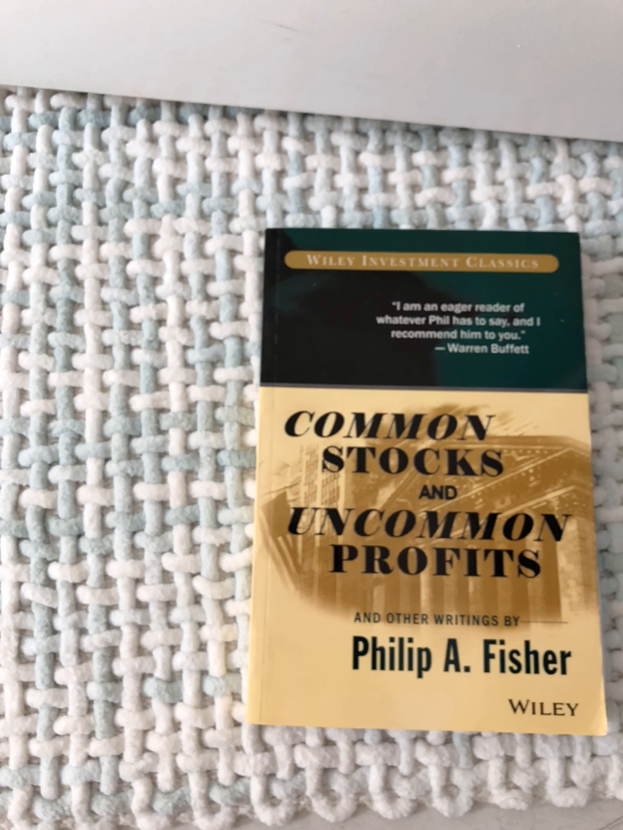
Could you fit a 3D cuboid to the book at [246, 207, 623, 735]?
[{"bbox_3d":[0.057,0.020,0.344,0.166,0.027,0.247,1,80,1],"label":"book"}]
